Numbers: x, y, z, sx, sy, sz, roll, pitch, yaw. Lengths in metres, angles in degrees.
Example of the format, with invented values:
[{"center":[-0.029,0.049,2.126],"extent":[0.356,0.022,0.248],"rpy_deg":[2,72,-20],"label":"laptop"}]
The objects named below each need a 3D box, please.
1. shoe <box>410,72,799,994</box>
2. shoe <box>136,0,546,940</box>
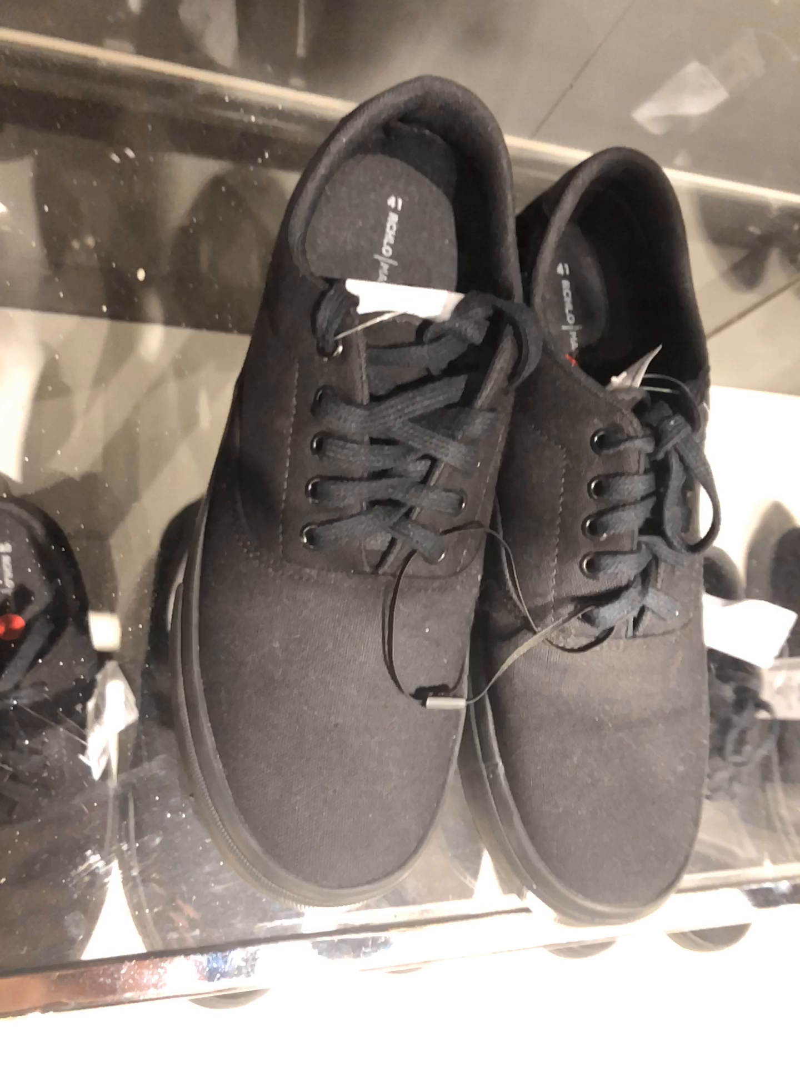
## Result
[{"center":[0.079,-0.004,0.370],"extent":[0.110,0.110,0.320],"rpy_deg":[3,77,-19],"label":"shoe"},{"center":[-0.022,-0.027,0.345],"extent":[0.110,0.110,0.320],"rpy_deg":[8,75,-18],"label":"shoe"}]
